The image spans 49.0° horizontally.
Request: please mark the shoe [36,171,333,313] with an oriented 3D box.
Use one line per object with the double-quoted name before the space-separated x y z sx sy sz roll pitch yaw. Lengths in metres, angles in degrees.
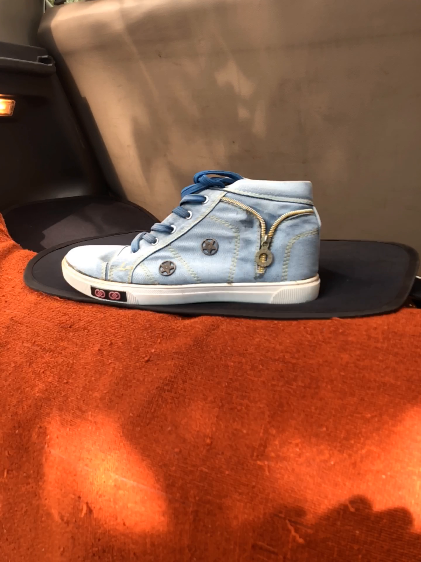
"shoe" -0.018 -0.047 0.463 0.260 0.110 0.111 2 19 10
